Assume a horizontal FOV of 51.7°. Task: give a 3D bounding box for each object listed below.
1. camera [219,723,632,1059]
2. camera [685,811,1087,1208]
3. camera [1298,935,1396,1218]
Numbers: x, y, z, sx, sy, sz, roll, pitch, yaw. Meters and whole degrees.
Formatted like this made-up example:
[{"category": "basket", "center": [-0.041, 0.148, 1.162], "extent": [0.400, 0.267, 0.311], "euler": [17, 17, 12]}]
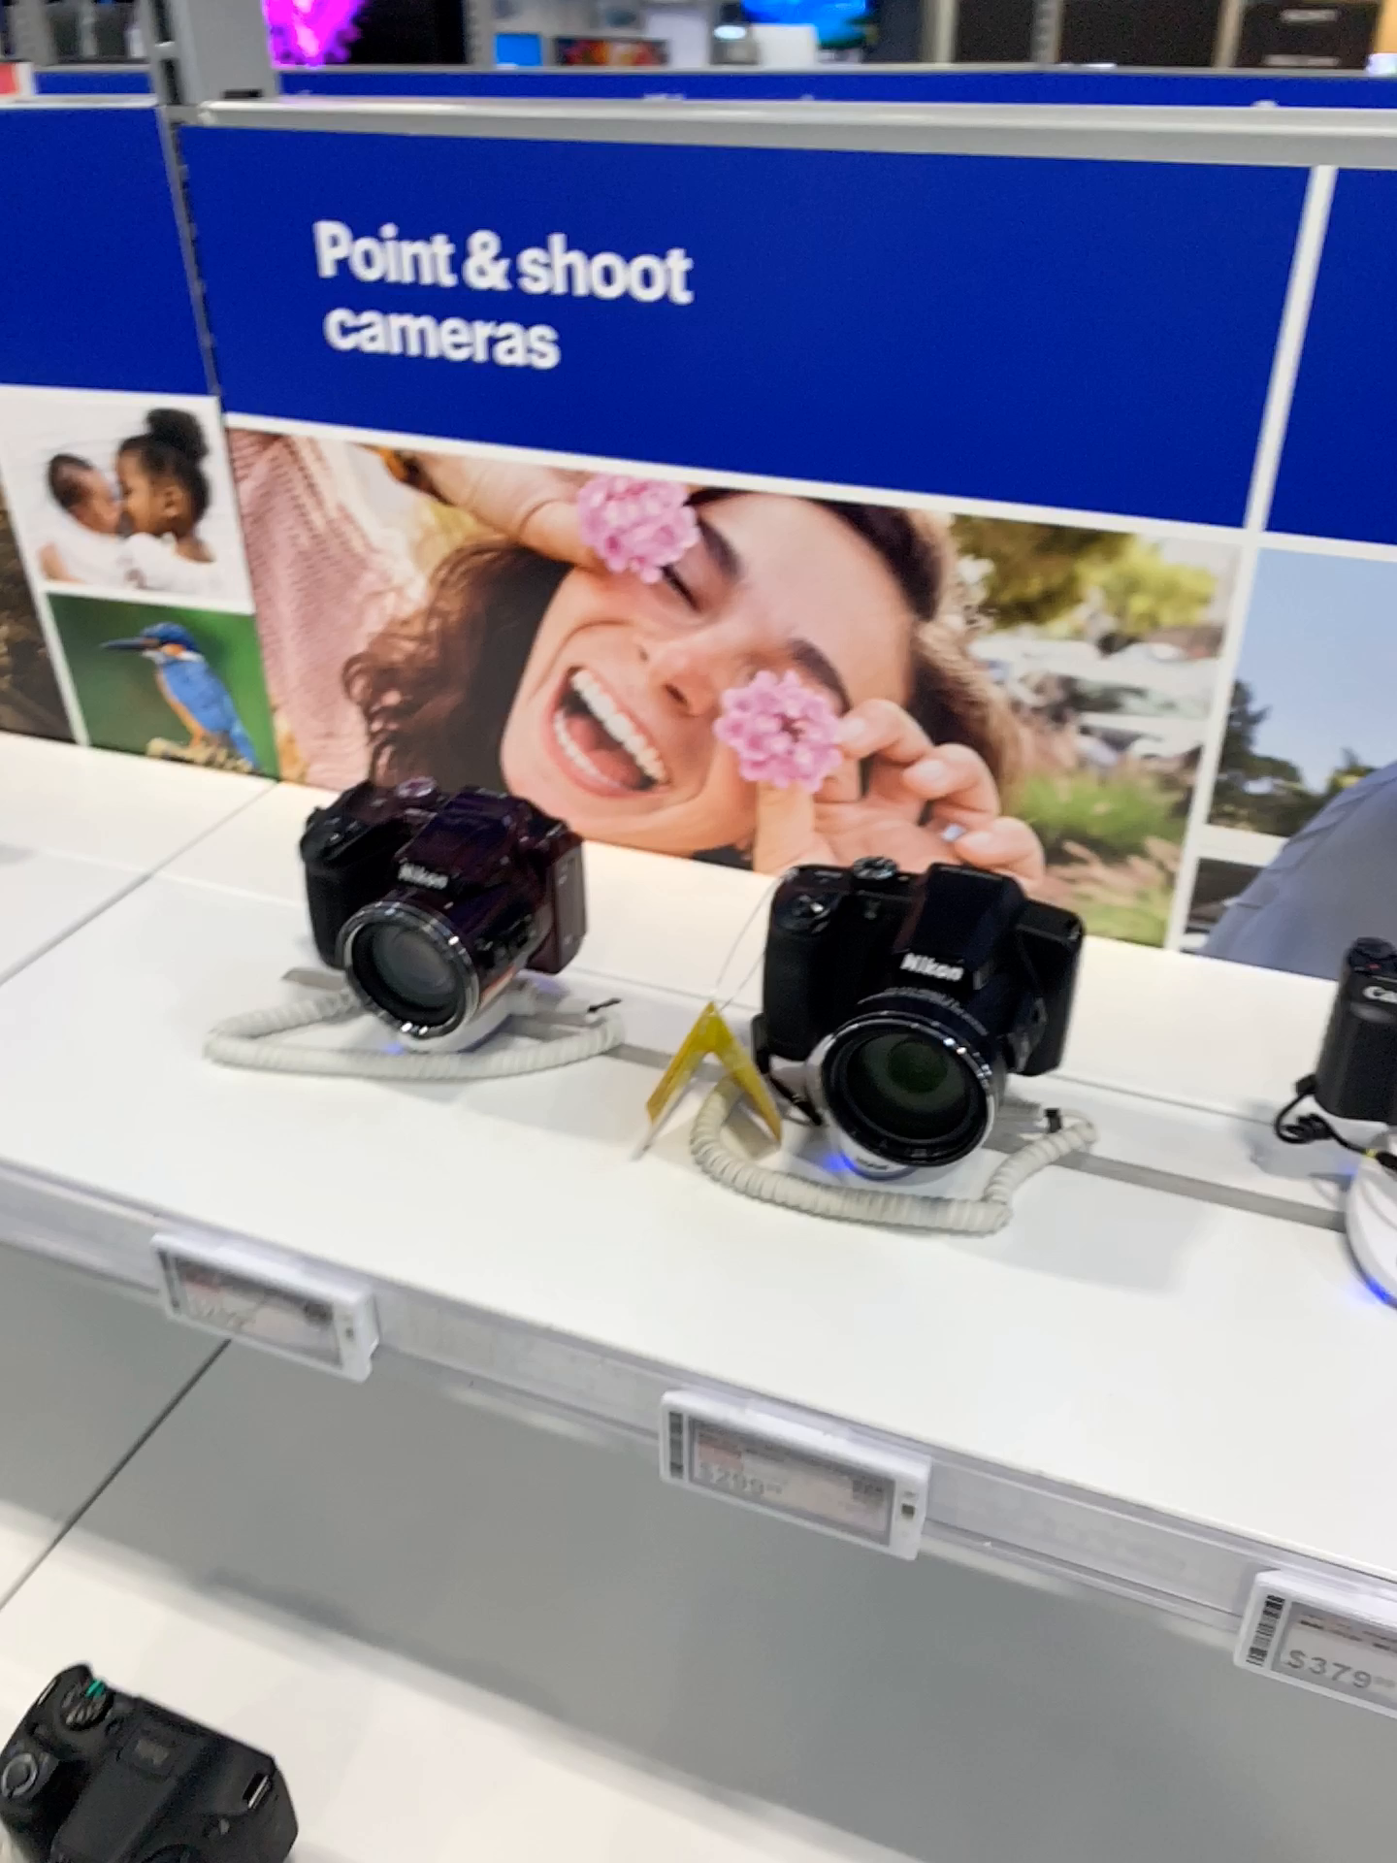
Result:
[{"category": "camera", "center": [-0.111, -0.023, 0.620], "extent": [0.130, 0.080, 0.110], "euler": [12, 33, 19]}, {"category": "camera", "center": [0.071, 0.023, 0.543], "extent": [0.120, 0.080, 0.110], "euler": [12, 33, 19]}, {"category": "camera", "center": [0.291, 0.051, 0.528], "extent": [0.120, 0.060, 0.050], "euler": [12, 33, 19]}]
